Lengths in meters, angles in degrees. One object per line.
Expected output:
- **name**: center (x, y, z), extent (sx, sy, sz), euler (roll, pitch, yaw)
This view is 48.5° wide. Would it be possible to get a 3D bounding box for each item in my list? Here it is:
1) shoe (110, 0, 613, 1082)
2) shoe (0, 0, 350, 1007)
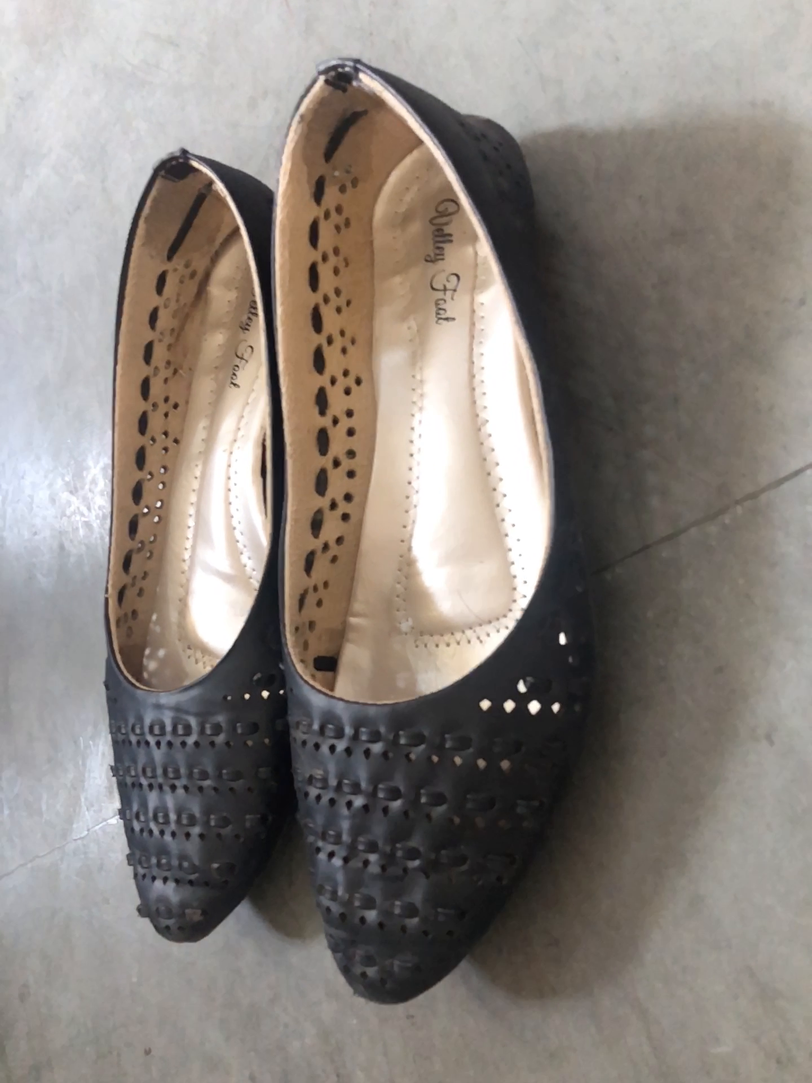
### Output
- **shoe**: center (-0.006, -0.027, 0.249), extent (0.100, 0.070, 0.280), euler (-5, 76, 37)
- **shoe**: center (-0.079, -0.016, 0.288), extent (0.100, 0.070, 0.270), euler (-5, 81, 37)
